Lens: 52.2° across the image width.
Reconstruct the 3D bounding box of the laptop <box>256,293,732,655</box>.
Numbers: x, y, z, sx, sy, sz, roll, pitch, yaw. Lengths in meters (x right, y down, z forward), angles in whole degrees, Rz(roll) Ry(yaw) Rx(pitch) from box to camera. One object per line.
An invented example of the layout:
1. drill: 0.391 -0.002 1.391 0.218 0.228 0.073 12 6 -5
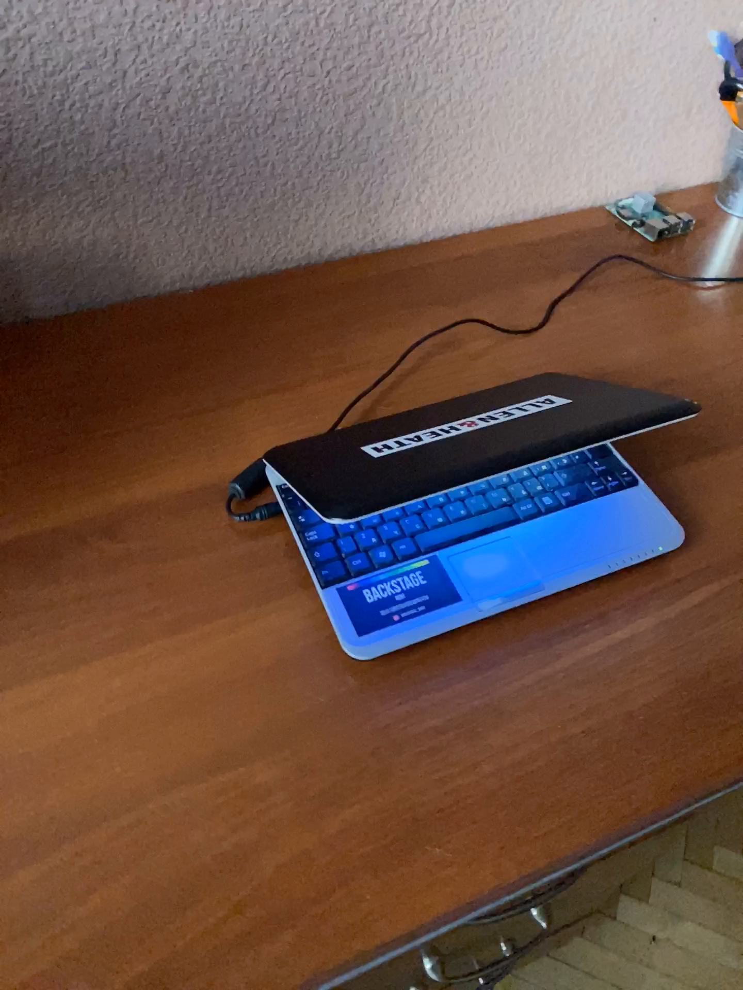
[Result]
1. laptop: 0.076 -0.027 0.535 0.266 0.088 0.173 -16 53 -15
